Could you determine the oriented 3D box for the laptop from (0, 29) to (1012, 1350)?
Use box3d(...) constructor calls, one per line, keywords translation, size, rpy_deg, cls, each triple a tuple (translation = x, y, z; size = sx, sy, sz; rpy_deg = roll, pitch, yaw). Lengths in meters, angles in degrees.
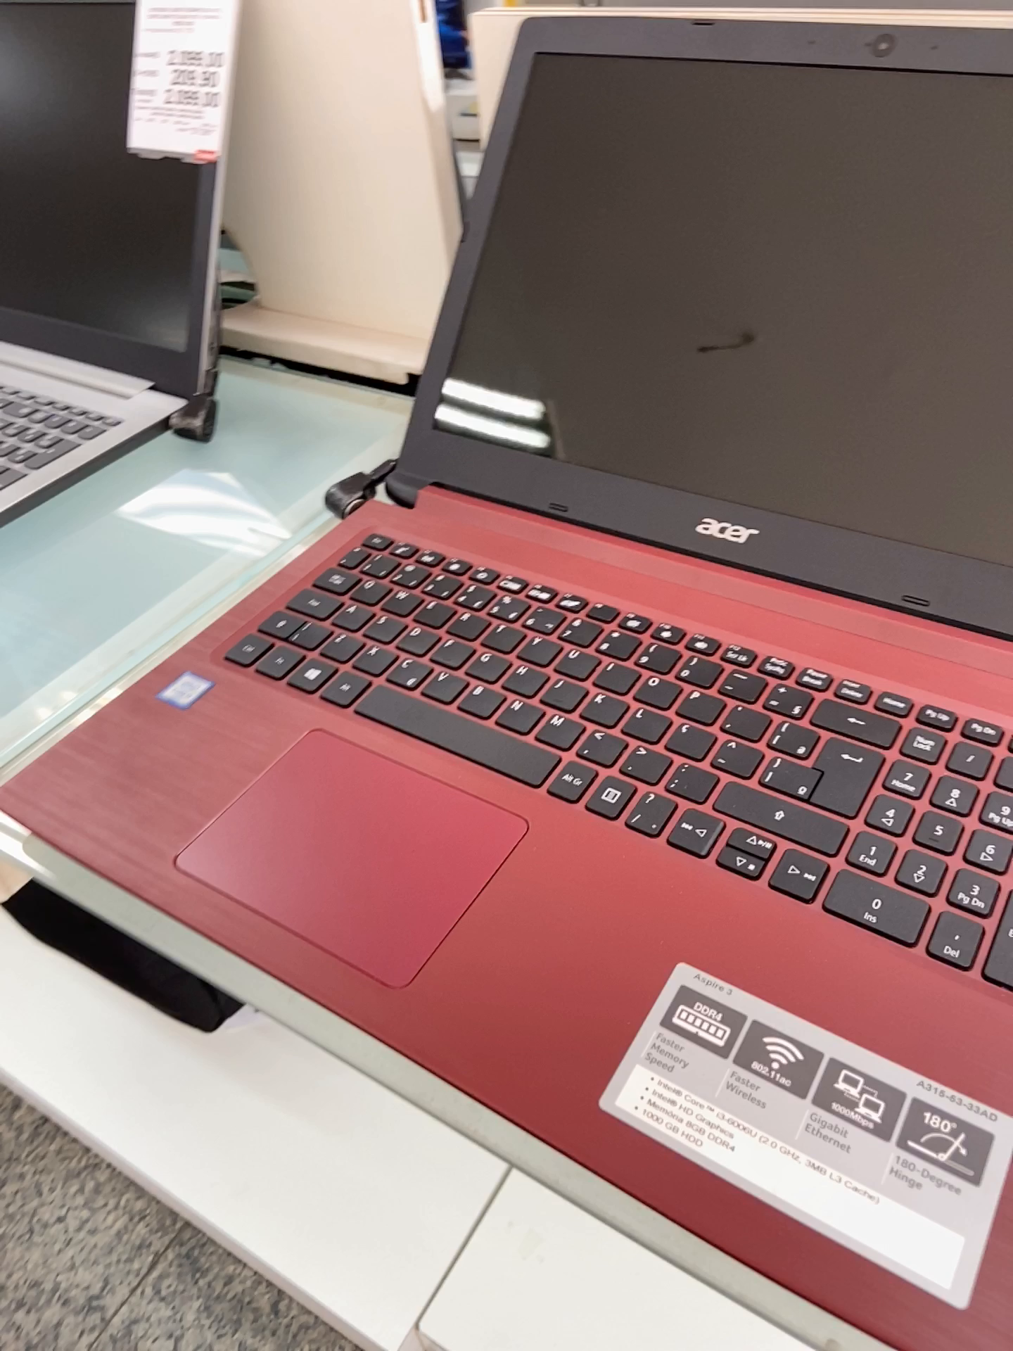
box3d(translation=(0.062, -0.090, 0.400), size=(0.391, 0.193, 0.431), rpy_deg=(20, 47, 28), cls="laptop")
